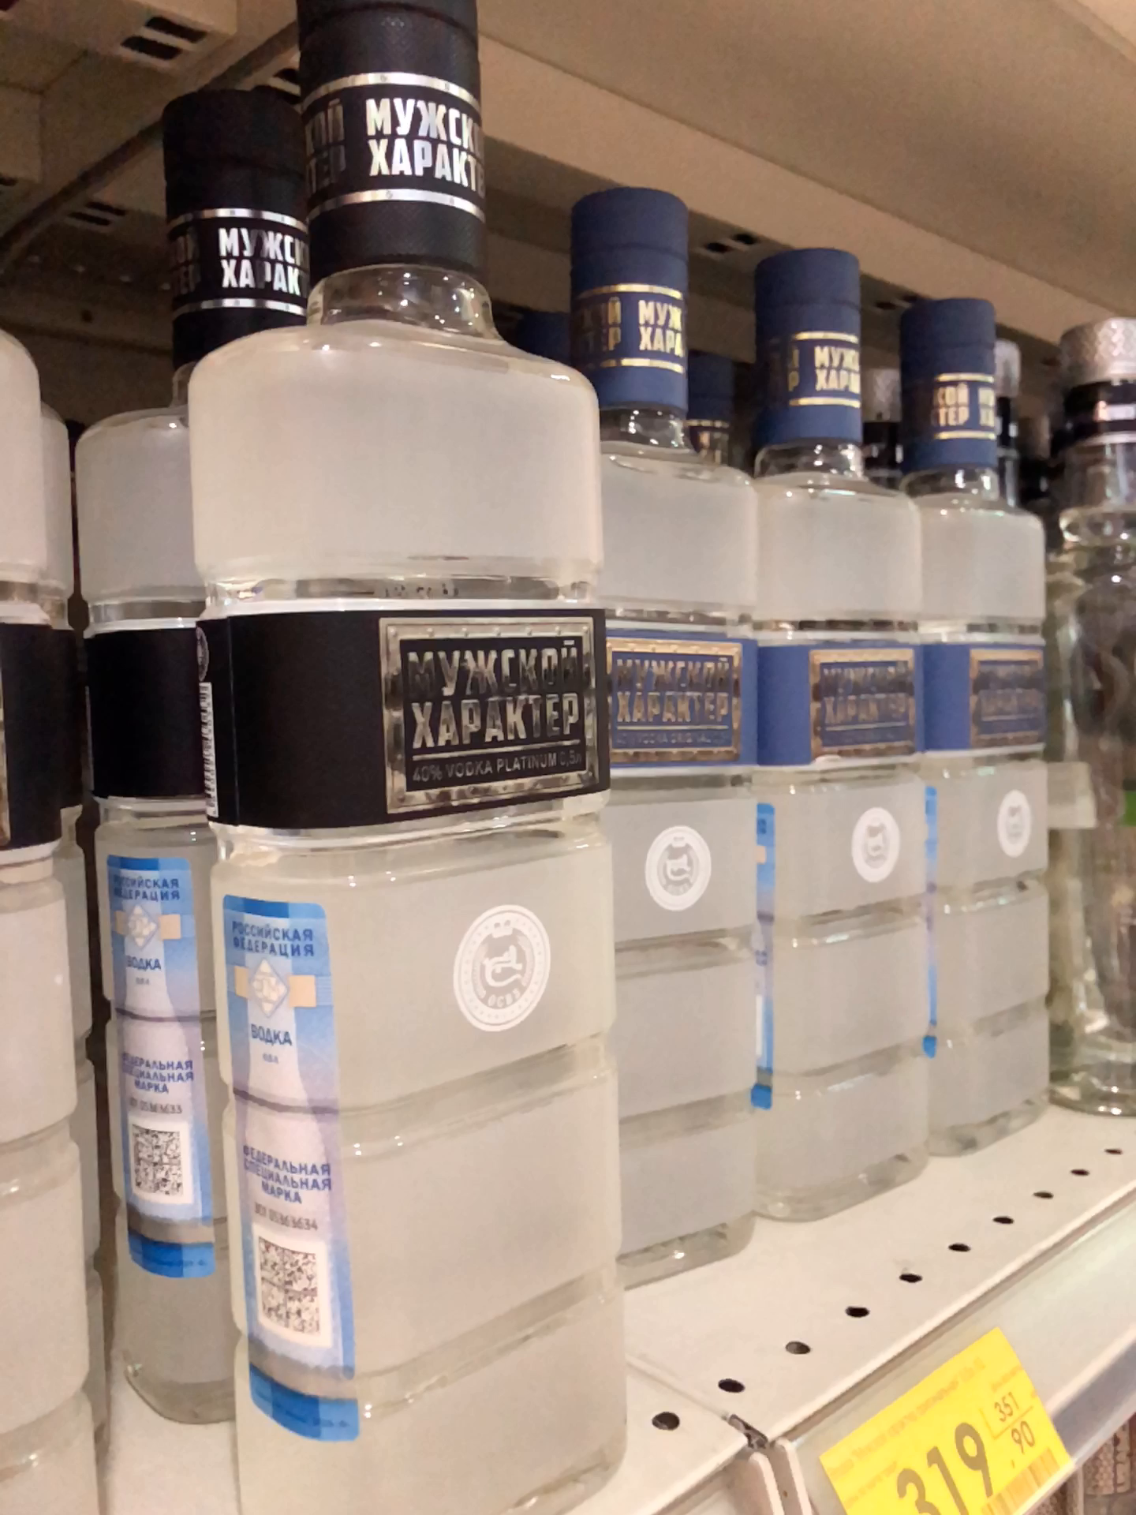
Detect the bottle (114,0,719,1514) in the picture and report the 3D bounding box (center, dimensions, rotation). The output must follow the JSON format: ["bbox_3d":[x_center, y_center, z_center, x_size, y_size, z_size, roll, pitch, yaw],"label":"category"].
[{"bbox_3d":[-0.025,-0.001,0.234,0.090,0.290,0.060,-3,5,-44],"label":"bottle"}]
